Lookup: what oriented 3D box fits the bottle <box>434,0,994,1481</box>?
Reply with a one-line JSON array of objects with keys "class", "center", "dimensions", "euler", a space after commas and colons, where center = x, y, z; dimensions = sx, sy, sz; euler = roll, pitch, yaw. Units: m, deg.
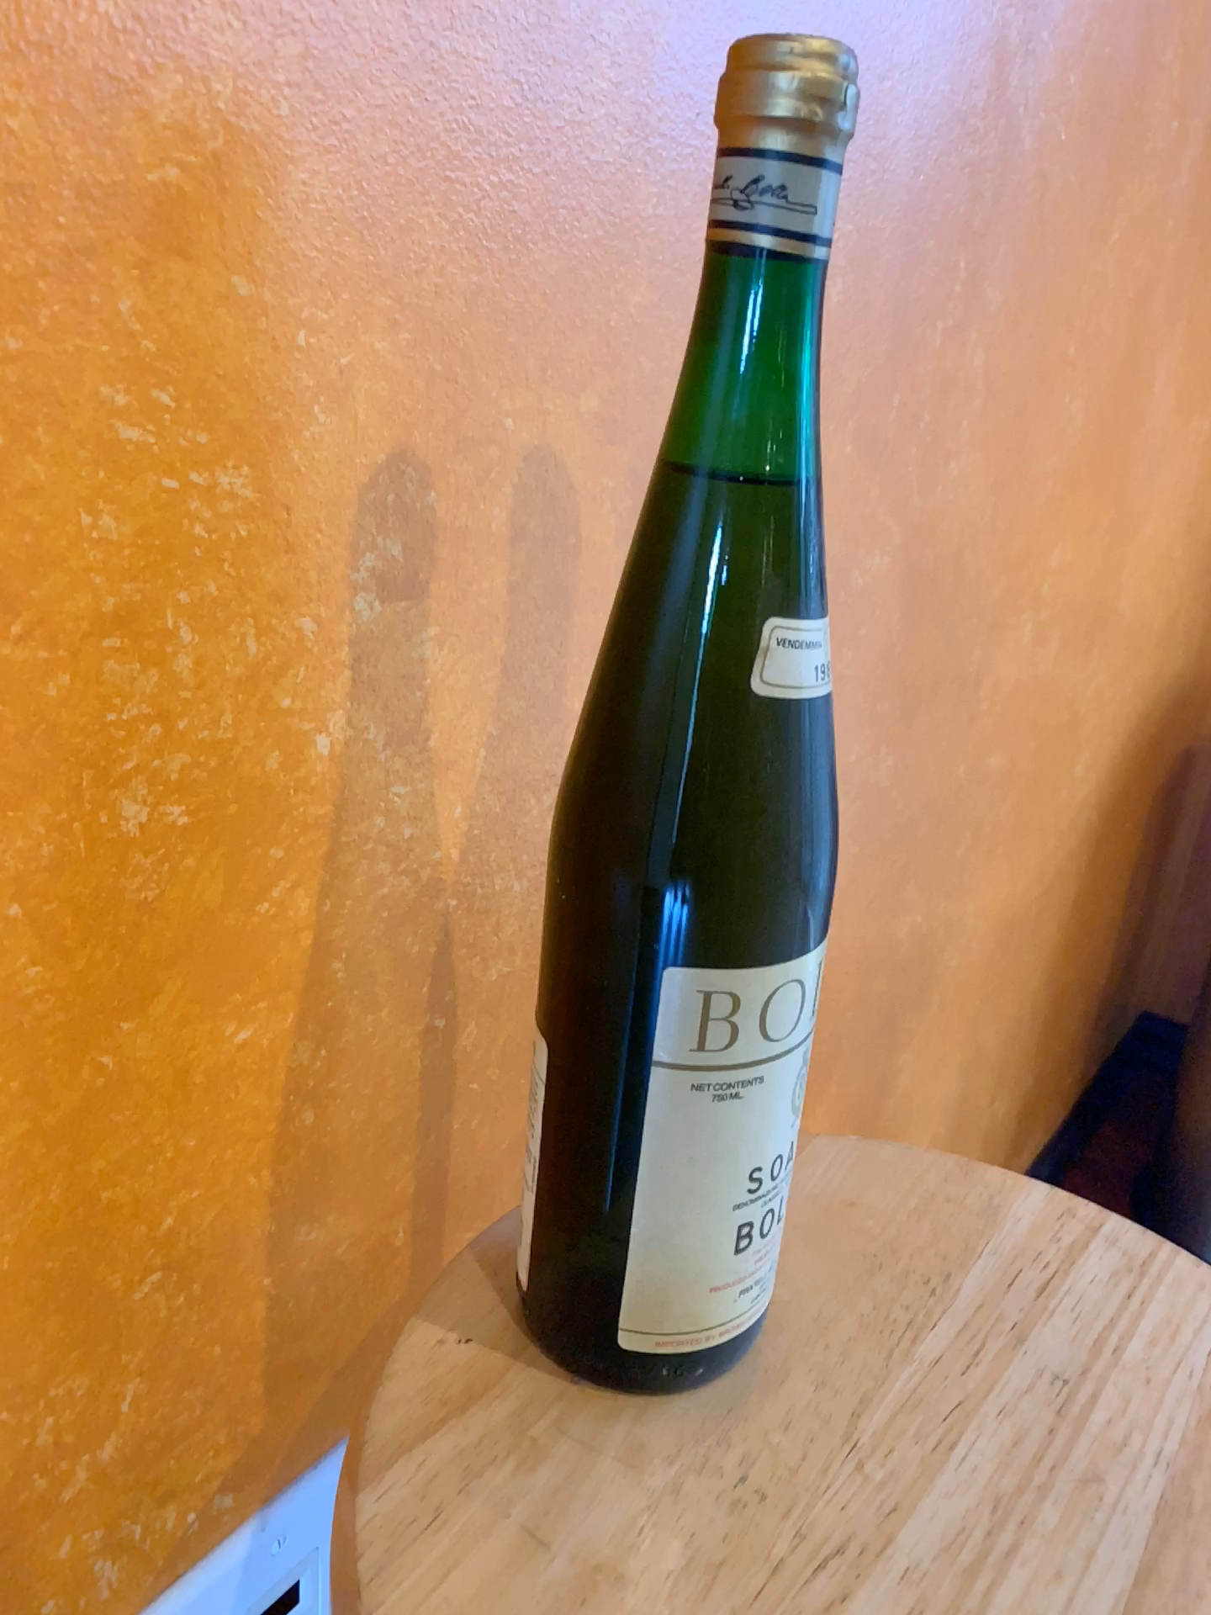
[{"class": "bottle", "center": [0.018, -0.004, 0.313], "dimensions": [0.070, 0.338, 0.080], "euler": [16, 22, 25]}]
